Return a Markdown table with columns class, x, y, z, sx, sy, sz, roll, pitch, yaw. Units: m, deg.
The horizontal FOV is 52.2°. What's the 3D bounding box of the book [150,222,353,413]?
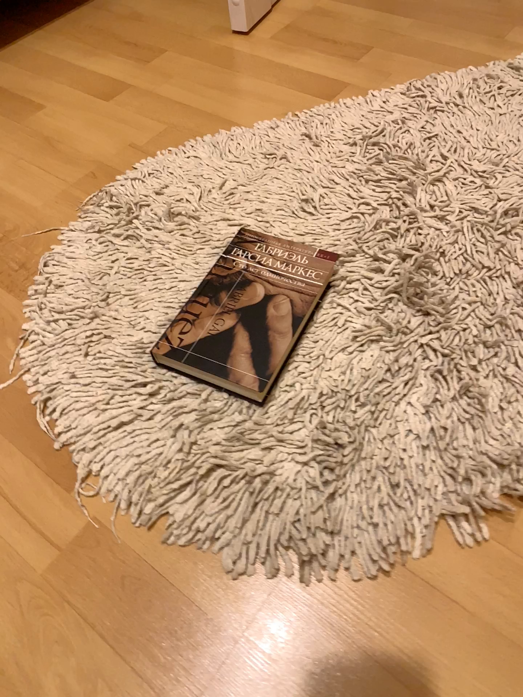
| class | x | y | z | sx | sy | sz | roll | pitch | yaw |
| --- | --- | --- | --- | --- | --- | --- | --- | --- | --- |
| book | -0.004 | -0.046 | 0.589 | 0.140 | 0.030 | 0.211 | 19 | 58 | 19 |
